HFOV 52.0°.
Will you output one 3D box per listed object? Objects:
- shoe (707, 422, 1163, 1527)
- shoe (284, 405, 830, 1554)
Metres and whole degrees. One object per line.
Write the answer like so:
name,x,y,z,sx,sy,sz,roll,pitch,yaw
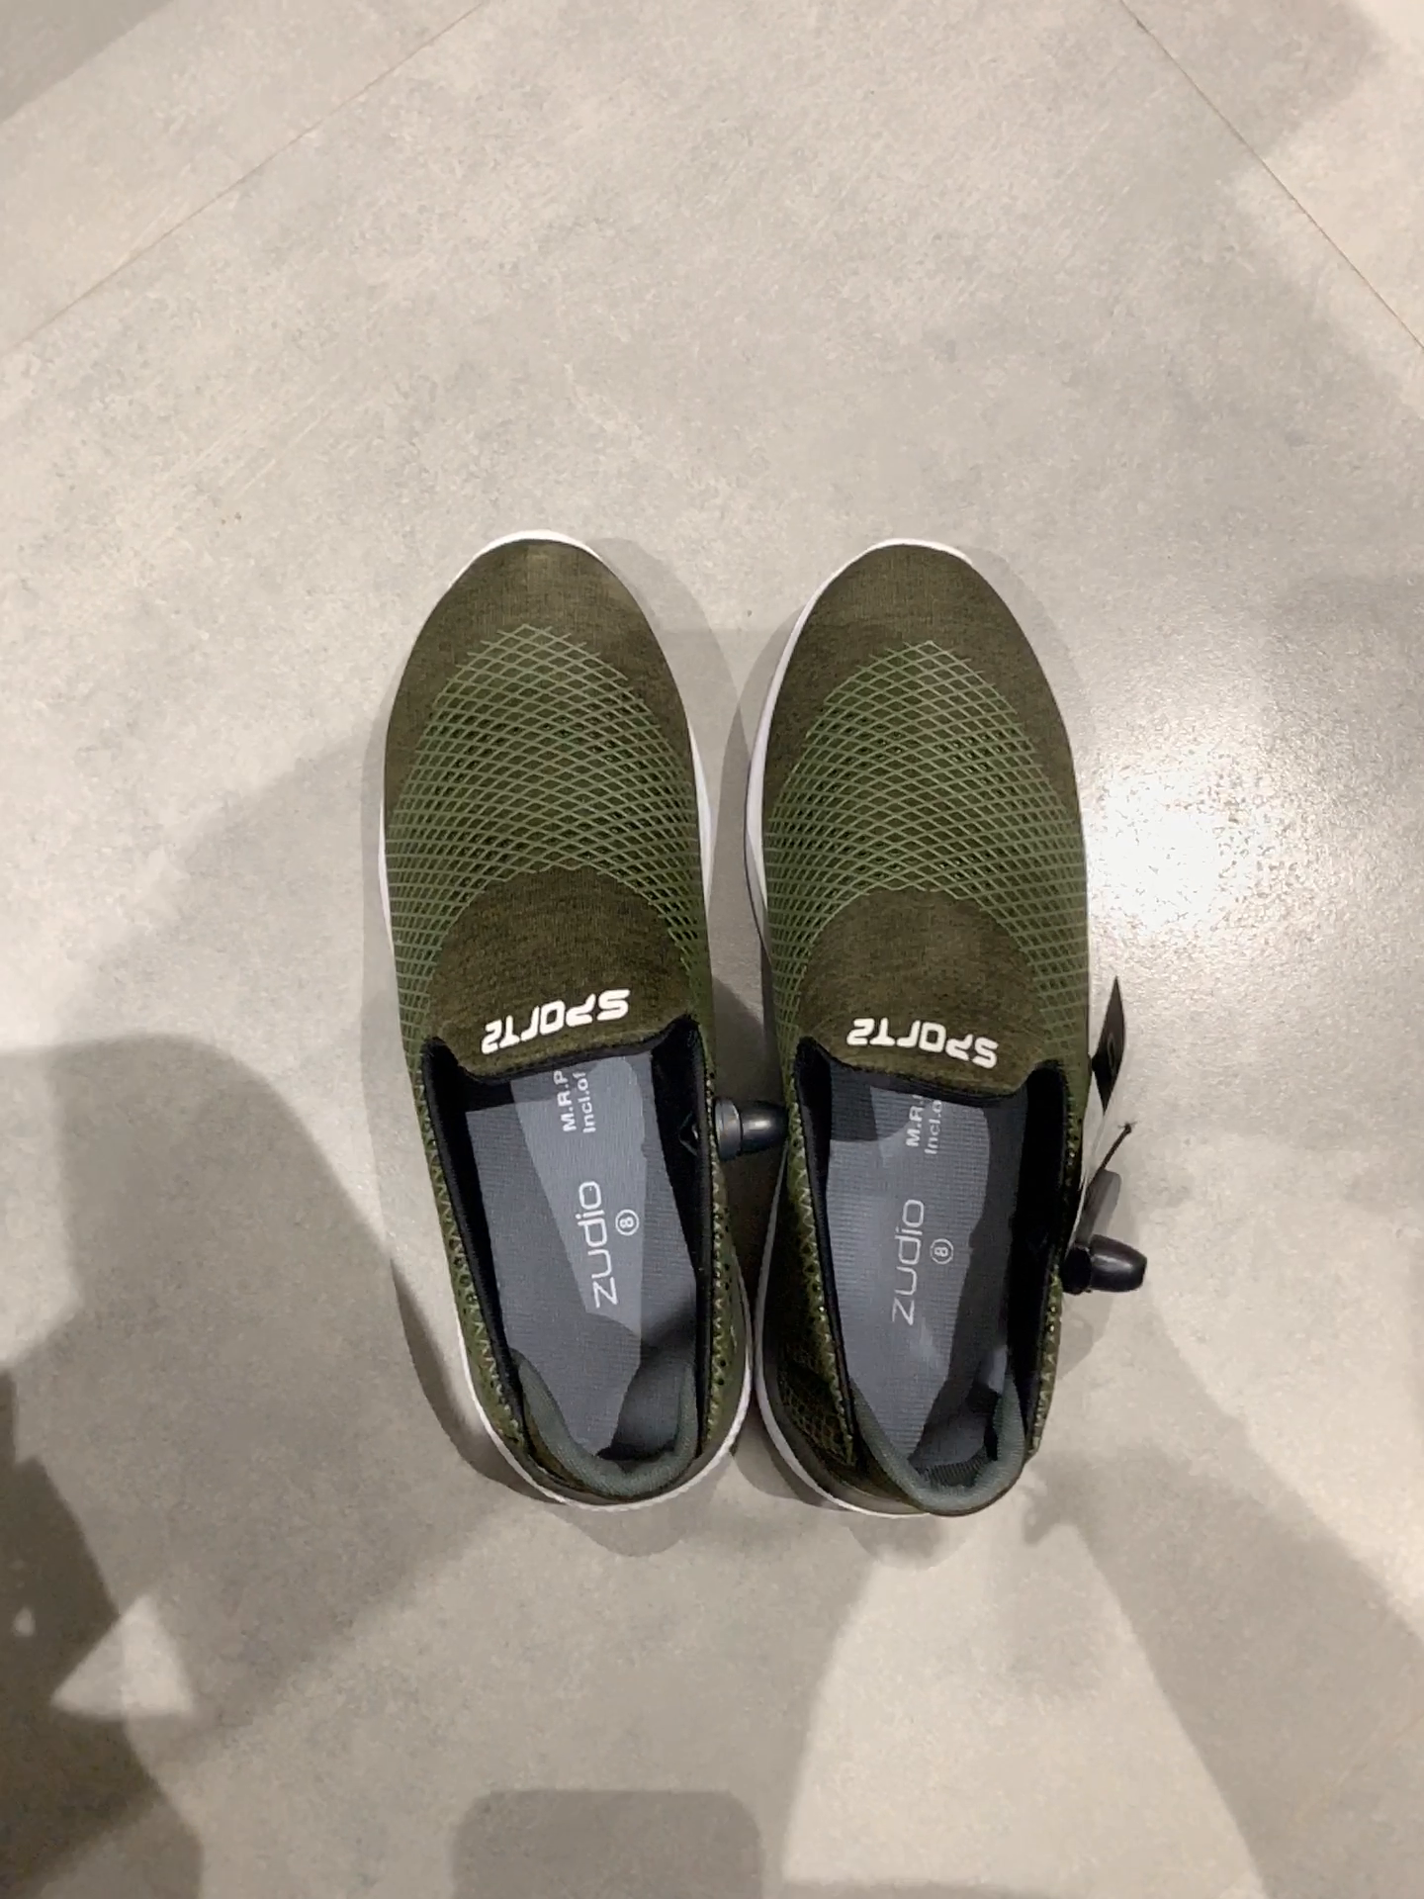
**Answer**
shoe,0.056,0.006,0.425,0.100,0.100,0.280,-3,86,-1
shoe,-0.042,0.007,0.419,0.100,0.100,0.280,-8,86,-1
